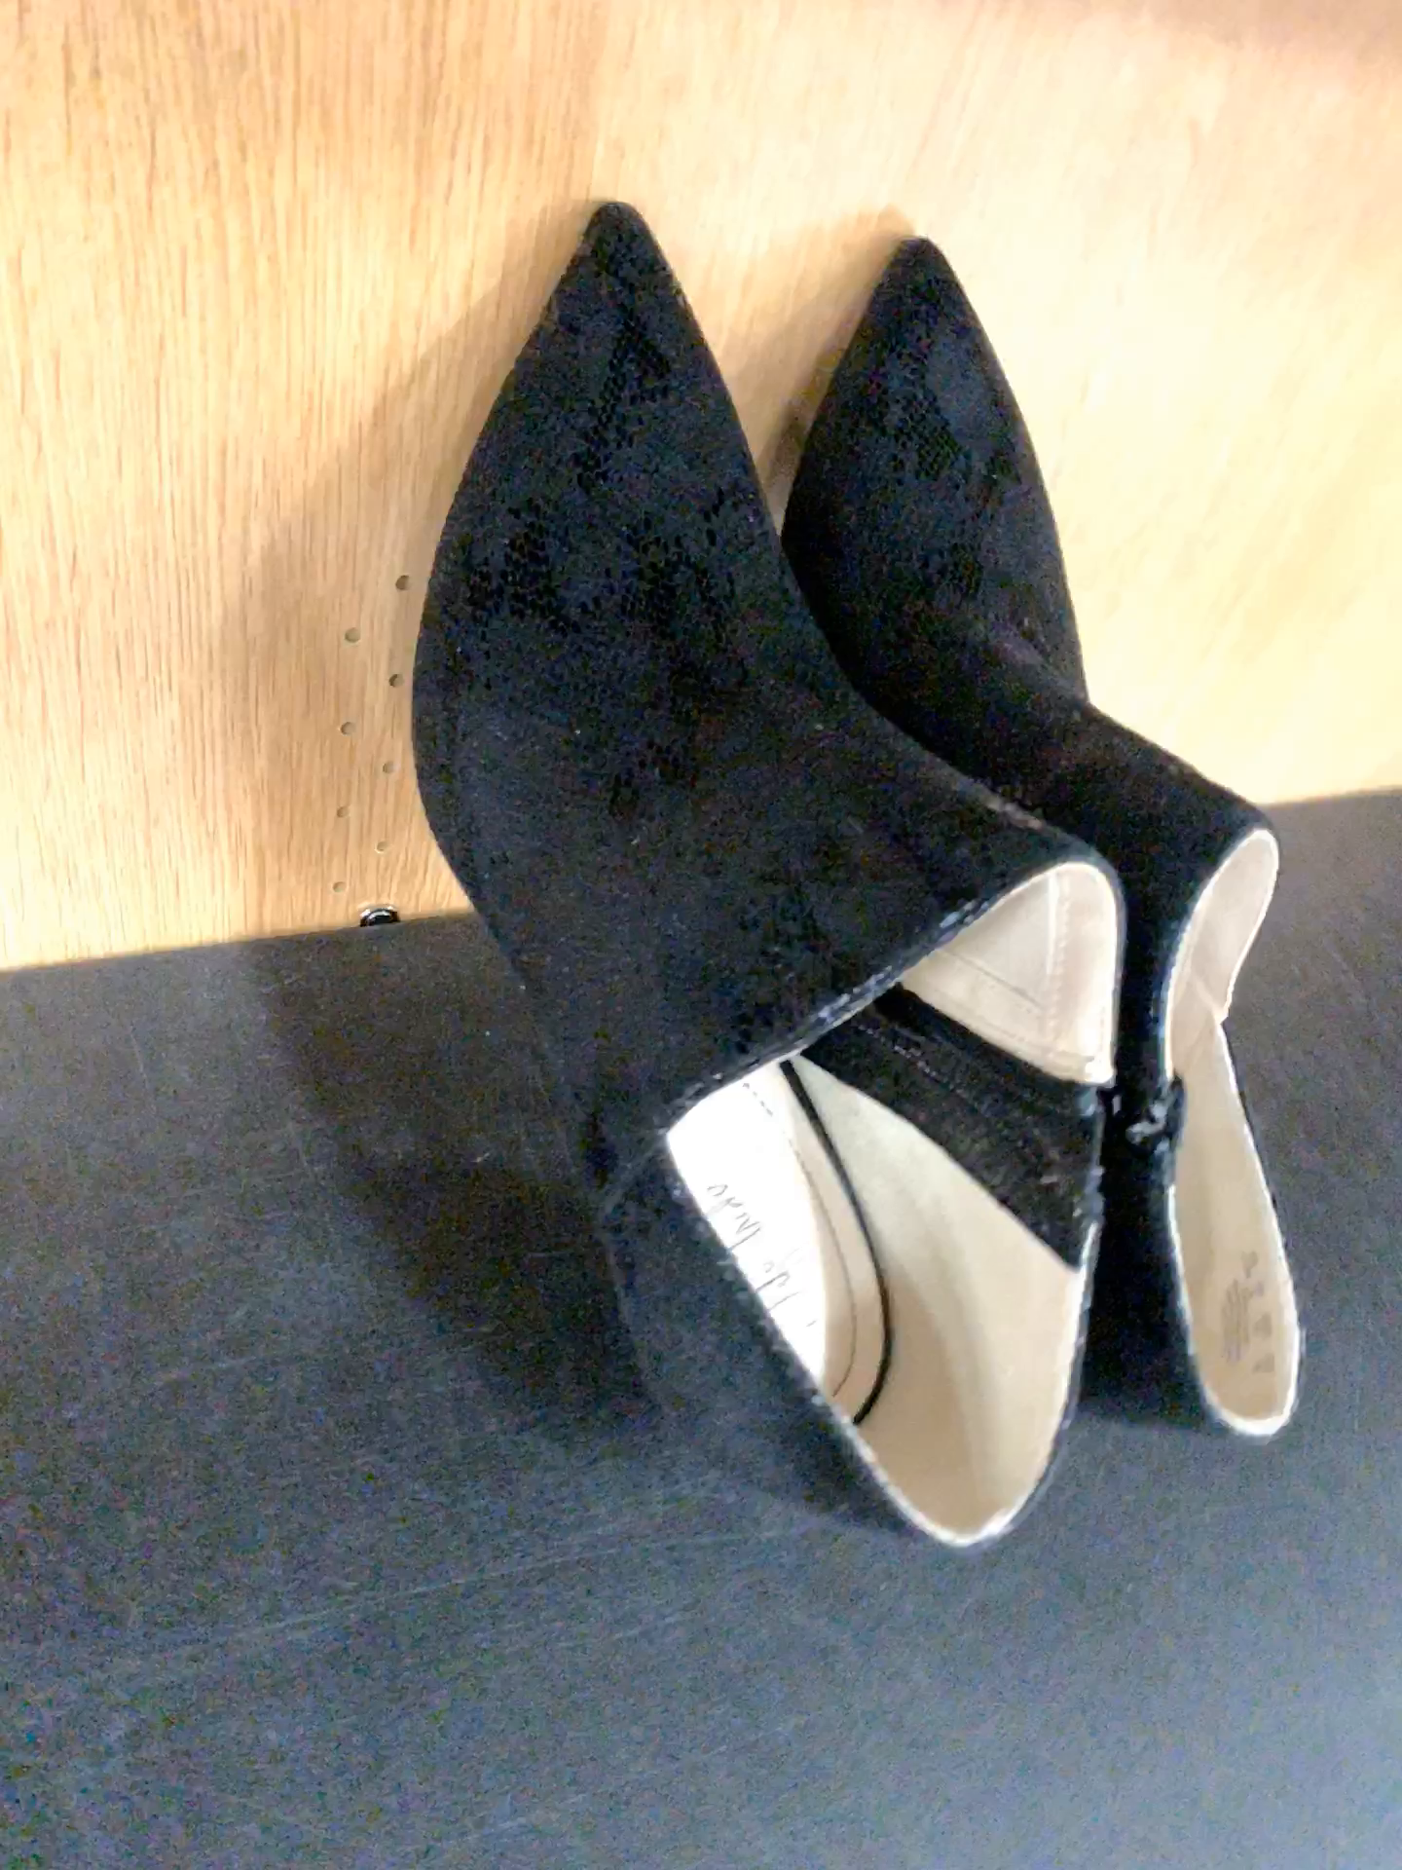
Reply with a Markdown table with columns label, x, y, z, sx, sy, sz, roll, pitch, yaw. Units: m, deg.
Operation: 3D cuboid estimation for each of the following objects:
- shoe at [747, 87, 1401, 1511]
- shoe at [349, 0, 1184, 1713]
| label | x | y | z | sx | sy | sz | roll | pitch | yaw |
| --- | --- | --- | --- | --- | --- | --- | --- | --- | --- |
| shoe | 0.090 | -0.030 | 0.354 | 0.111 | 0.280 | 0.120 | -6 | 9 | -14 |
| shoe | 0.008 | -0.019 | 0.302 | 0.101 | 0.270 | 0.140 | -9 | 10 | -25 |
